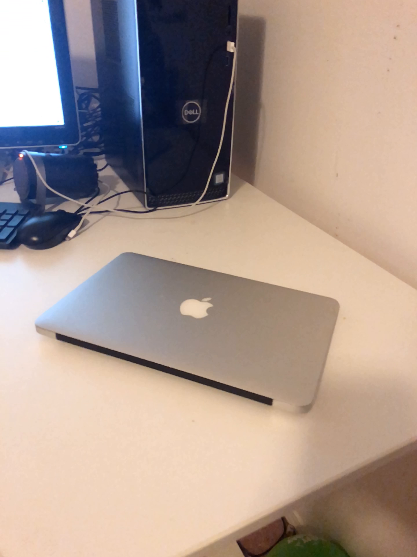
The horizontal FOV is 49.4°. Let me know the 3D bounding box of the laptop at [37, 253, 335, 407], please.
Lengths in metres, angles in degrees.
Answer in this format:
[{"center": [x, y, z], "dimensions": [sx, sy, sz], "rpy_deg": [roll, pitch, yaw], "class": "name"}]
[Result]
[{"center": [-0.017, 0.040, 0.519], "dimensions": [0.290, 0.004, 0.179], "rpy_deg": [13, 32, 17], "class": "laptop"}]
